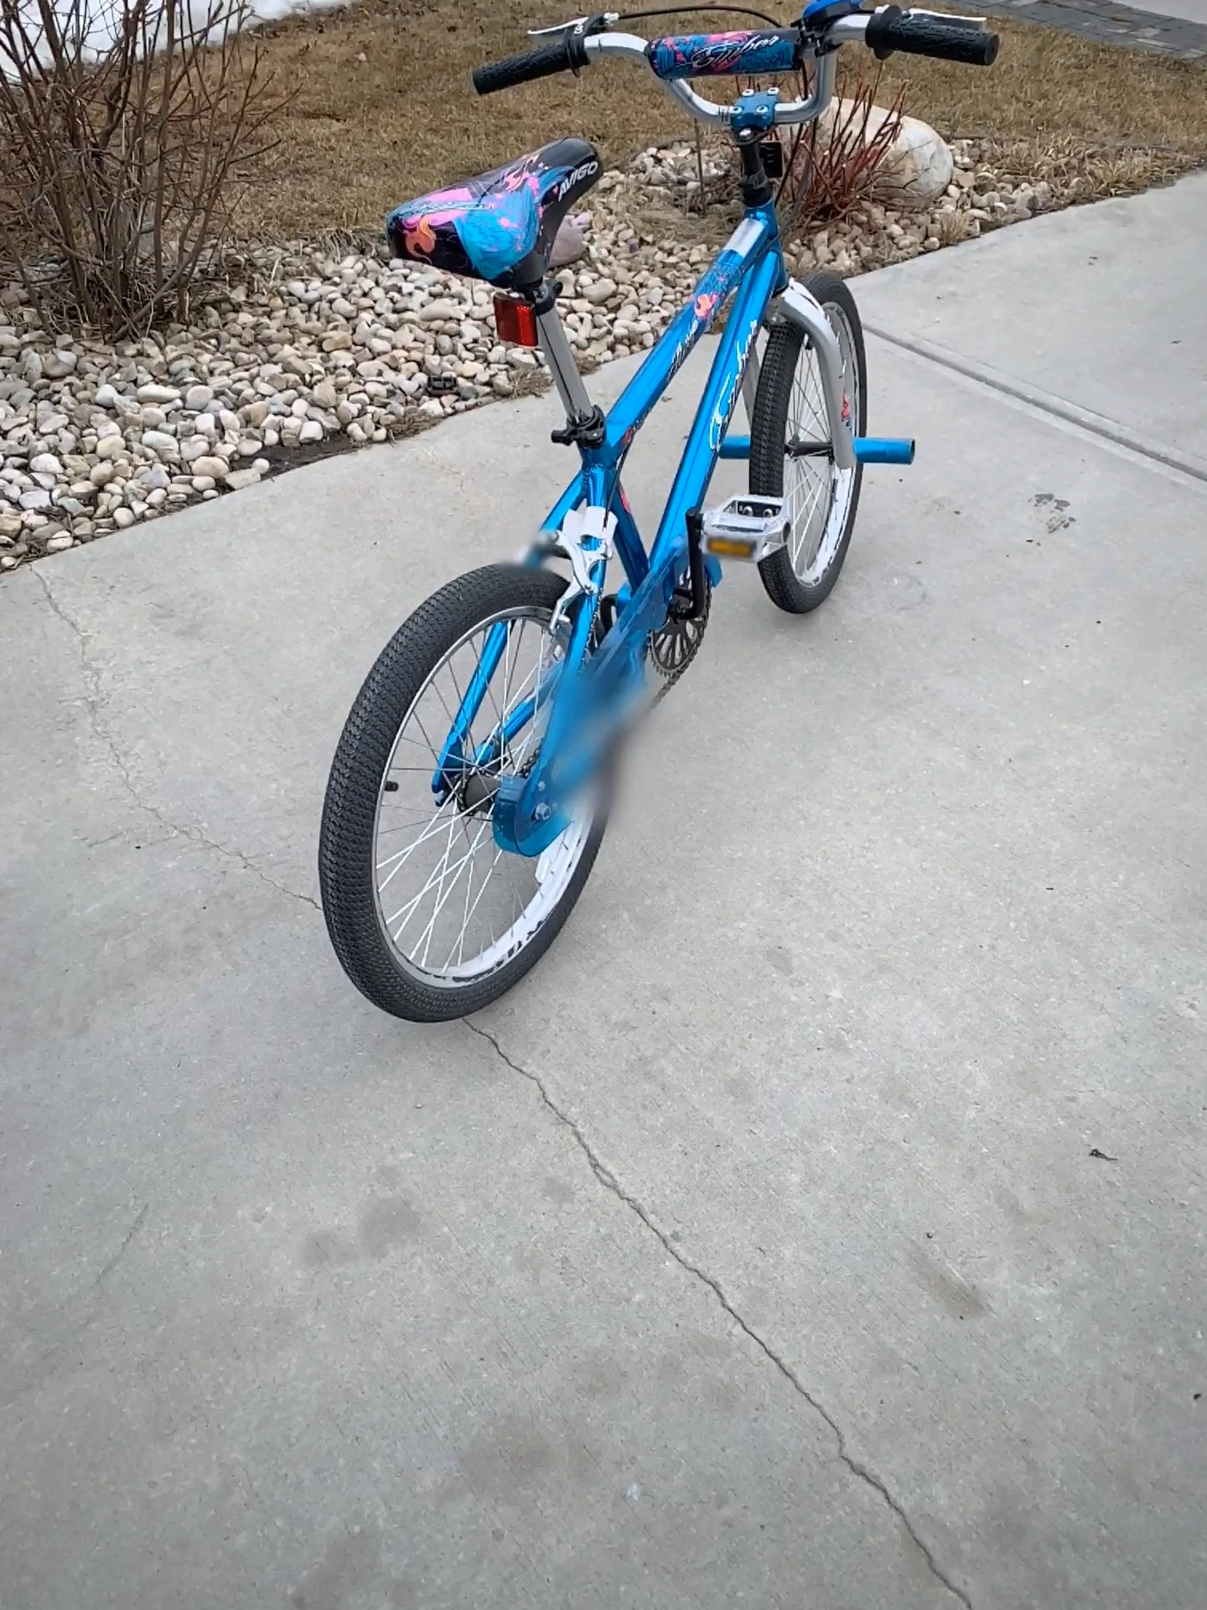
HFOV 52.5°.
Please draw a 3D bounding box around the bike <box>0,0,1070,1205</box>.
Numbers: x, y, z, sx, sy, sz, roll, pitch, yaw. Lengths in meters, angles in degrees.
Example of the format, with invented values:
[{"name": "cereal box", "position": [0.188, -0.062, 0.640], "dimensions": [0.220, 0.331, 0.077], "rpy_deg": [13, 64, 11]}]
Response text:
[{"name": "bike", "position": [-0.008, -0.450, 1.518], "dimensions": [0.682, 0.837, 1.390], "rpy_deg": [19, 48, 19]}]
